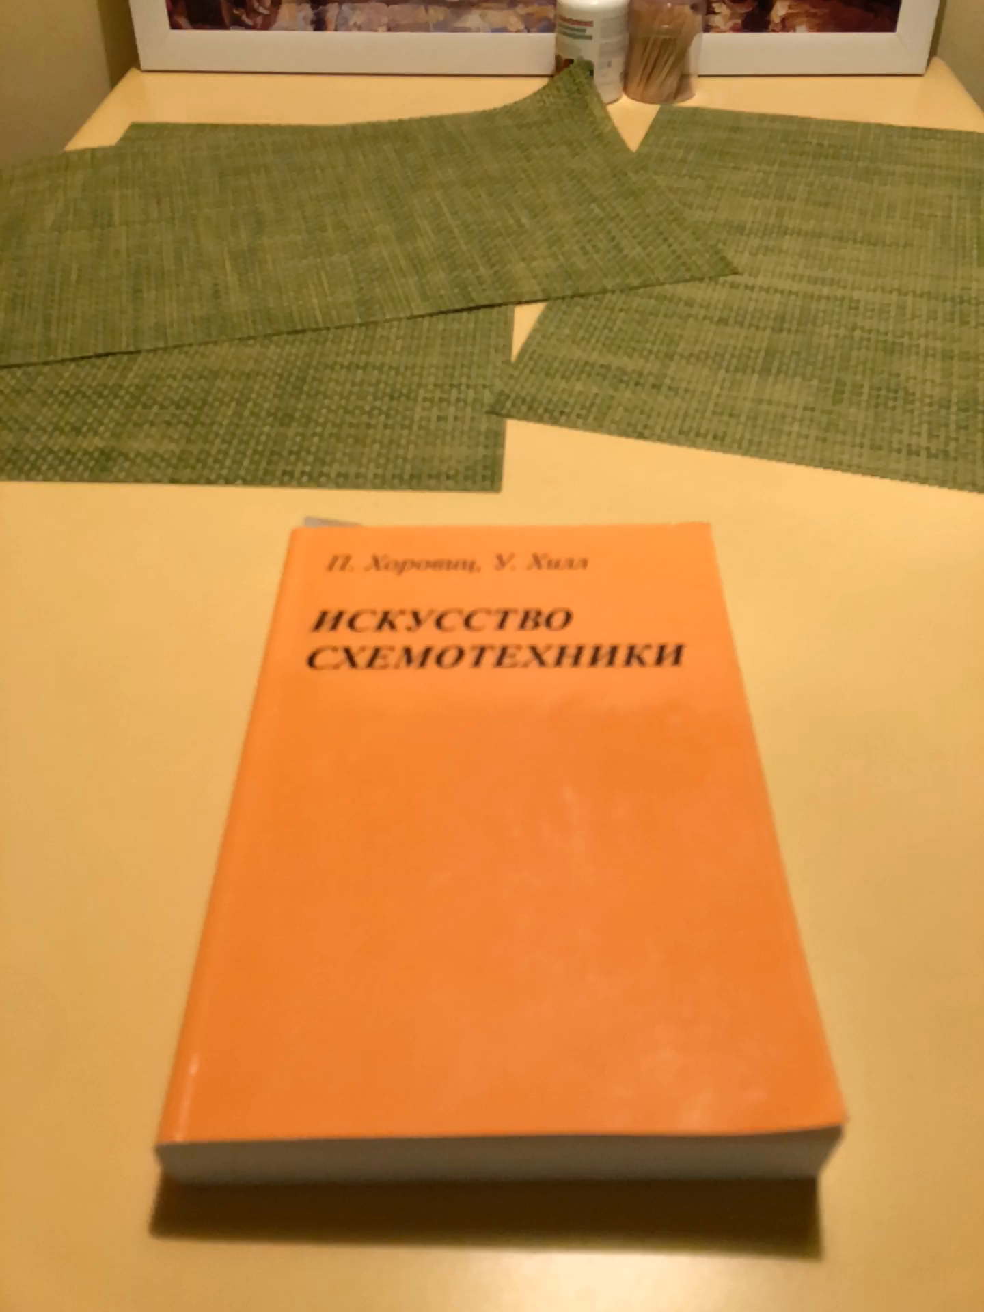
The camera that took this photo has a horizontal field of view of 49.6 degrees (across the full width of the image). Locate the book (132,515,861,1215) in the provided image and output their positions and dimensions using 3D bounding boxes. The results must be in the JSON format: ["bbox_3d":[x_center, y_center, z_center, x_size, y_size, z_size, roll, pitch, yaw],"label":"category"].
[{"bbox_3d":[0.002,0.046,0.351,0.171,0.048,0.239,0,45,1],"label":"book"}]
